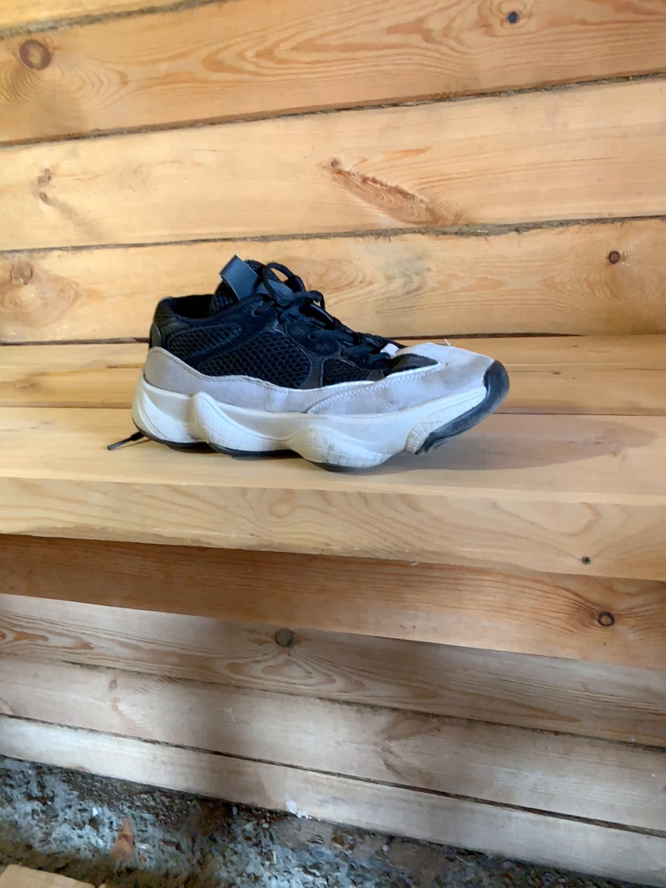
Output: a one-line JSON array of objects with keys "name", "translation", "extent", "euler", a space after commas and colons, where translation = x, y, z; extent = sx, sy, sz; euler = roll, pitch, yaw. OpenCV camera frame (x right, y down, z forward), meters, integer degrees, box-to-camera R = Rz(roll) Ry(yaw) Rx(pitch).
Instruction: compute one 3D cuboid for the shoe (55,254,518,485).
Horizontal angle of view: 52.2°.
[{"name": "shoe", "translation": [-0.030, -0.061, 0.445], "extent": [0.270, 0.109, 0.121], "euler": [6, 18, 27]}]
